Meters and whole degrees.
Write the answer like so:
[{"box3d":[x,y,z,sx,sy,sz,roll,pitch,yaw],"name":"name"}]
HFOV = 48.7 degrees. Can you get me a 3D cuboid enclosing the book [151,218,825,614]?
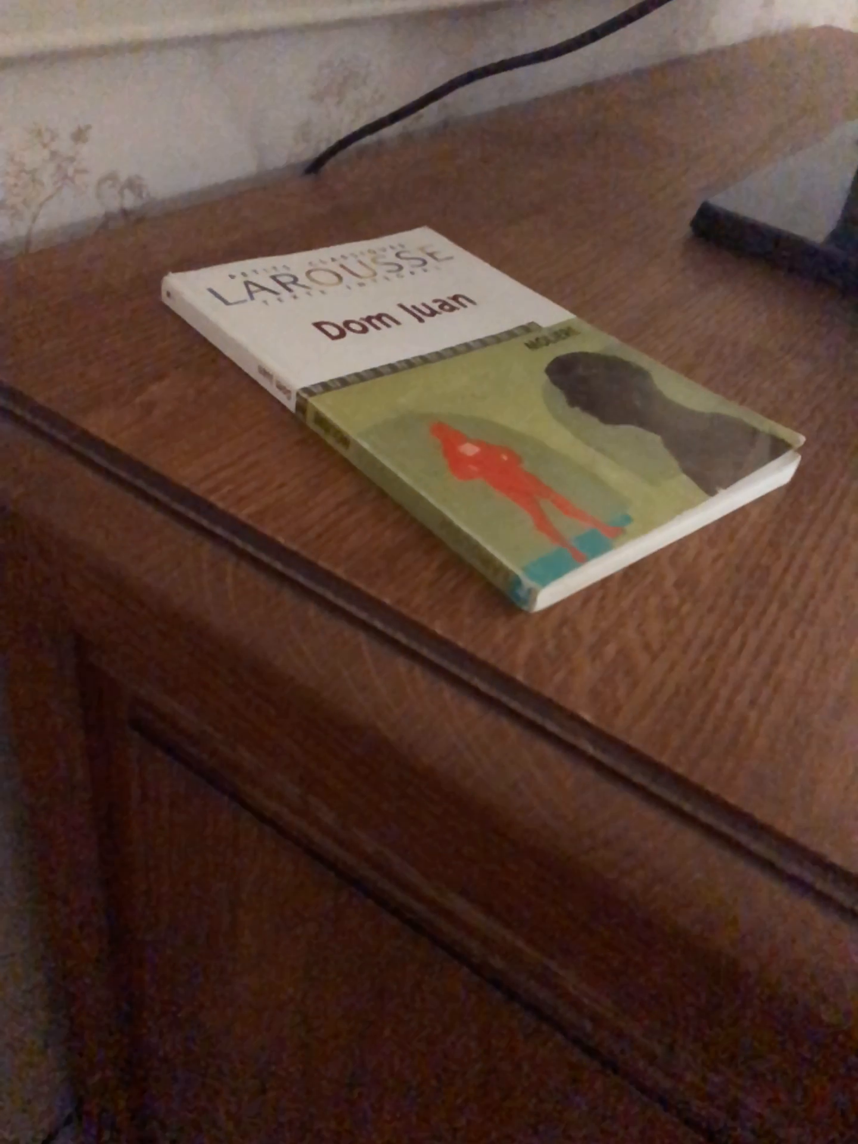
[{"box3d":[0.012,-0.064,0.290,0.116,0.010,0.180,-23,50,-35],"name":"book"}]
